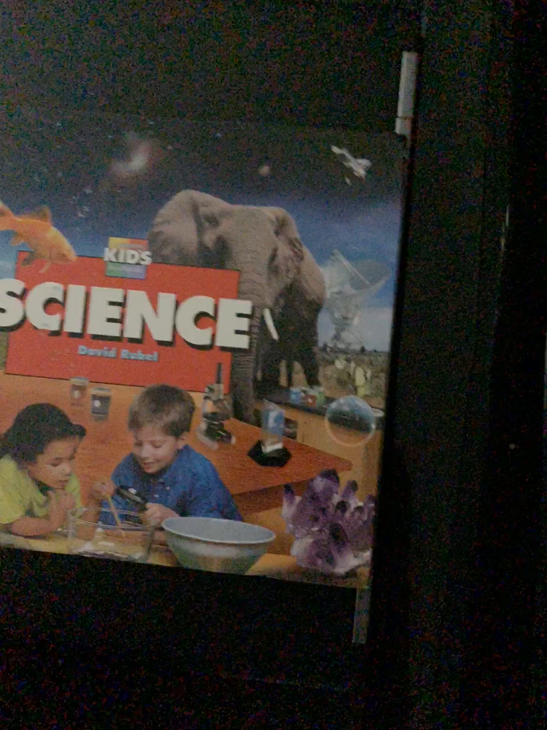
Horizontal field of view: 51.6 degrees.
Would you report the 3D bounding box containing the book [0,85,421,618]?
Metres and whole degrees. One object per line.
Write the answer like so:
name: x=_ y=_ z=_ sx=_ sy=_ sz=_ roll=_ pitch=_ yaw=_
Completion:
book: x=-0.078 y=-0.012 z=0.297 sx=0.280 sy=0.030 sz=0.240 roll=6 pitch=88 yaw=3
